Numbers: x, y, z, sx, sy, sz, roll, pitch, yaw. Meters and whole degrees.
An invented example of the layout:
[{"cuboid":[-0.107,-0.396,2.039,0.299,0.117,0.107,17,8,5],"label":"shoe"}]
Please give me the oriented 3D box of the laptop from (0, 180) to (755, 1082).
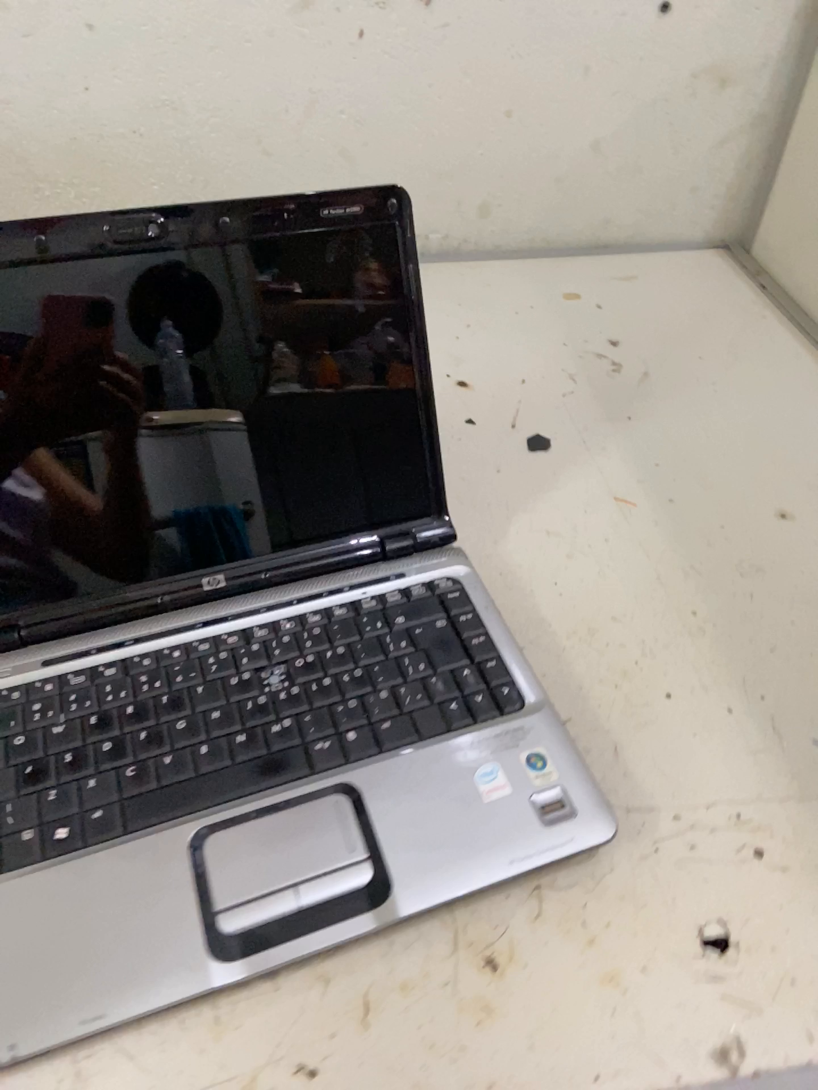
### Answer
[{"cuboid":[-0.095,-0.003,0.421,0.321,0.193,0.335,-13,47,-16],"label":"laptop"}]
